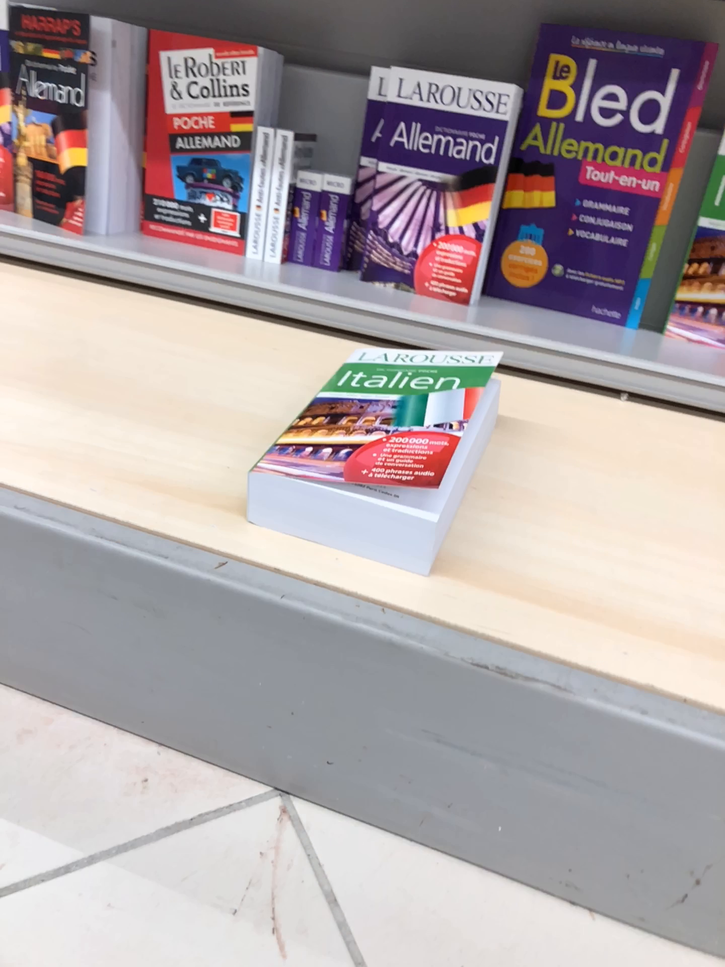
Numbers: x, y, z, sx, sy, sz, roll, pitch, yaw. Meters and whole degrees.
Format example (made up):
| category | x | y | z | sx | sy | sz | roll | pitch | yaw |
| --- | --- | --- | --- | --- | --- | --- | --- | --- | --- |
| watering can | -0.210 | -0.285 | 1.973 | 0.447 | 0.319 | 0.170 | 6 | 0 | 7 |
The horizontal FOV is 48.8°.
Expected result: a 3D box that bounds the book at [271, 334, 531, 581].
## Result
| category | x | y | z | sx | sy | sz | roll | pitch | yaw |
| --- | --- | --- | --- | --- | --- | --- | --- | --- | --- |
| book | 0.032 | -0.027 | 0.493 | 0.106 | 0.045 | 0.185 | 16 | 34 | 13 |
